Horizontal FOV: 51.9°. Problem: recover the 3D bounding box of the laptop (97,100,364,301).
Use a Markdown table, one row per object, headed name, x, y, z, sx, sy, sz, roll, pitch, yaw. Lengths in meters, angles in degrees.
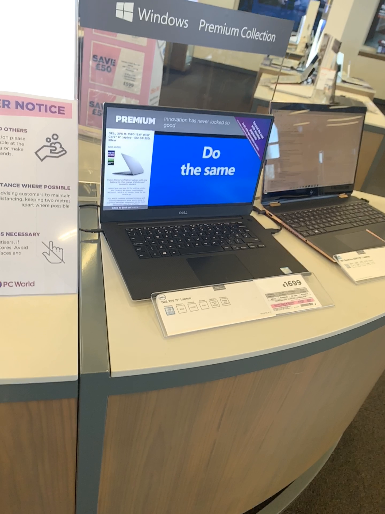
| name | x | y | z | sx | sy | sz | roll | pitch | yaw |
| --- | --- | --- | --- | --- | --- | --- | --- | --- | --- |
| laptop | 0.042 | -0.112 | 0.703 | 0.351 | 0.224 | 0.254 | -6 | 37 | -26 |
